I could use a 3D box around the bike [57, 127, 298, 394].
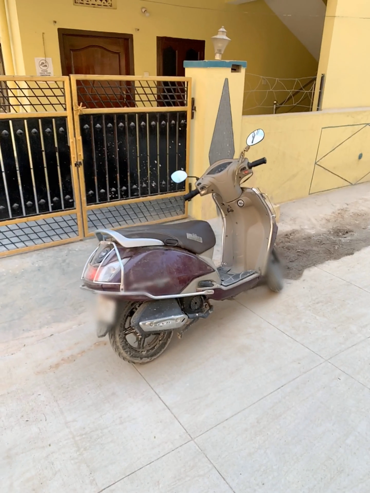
[{"bbox_3d":[0.031,-0.060,2.621,0.615,1.158,1.529,22,35,40],"label":"bike"}]
